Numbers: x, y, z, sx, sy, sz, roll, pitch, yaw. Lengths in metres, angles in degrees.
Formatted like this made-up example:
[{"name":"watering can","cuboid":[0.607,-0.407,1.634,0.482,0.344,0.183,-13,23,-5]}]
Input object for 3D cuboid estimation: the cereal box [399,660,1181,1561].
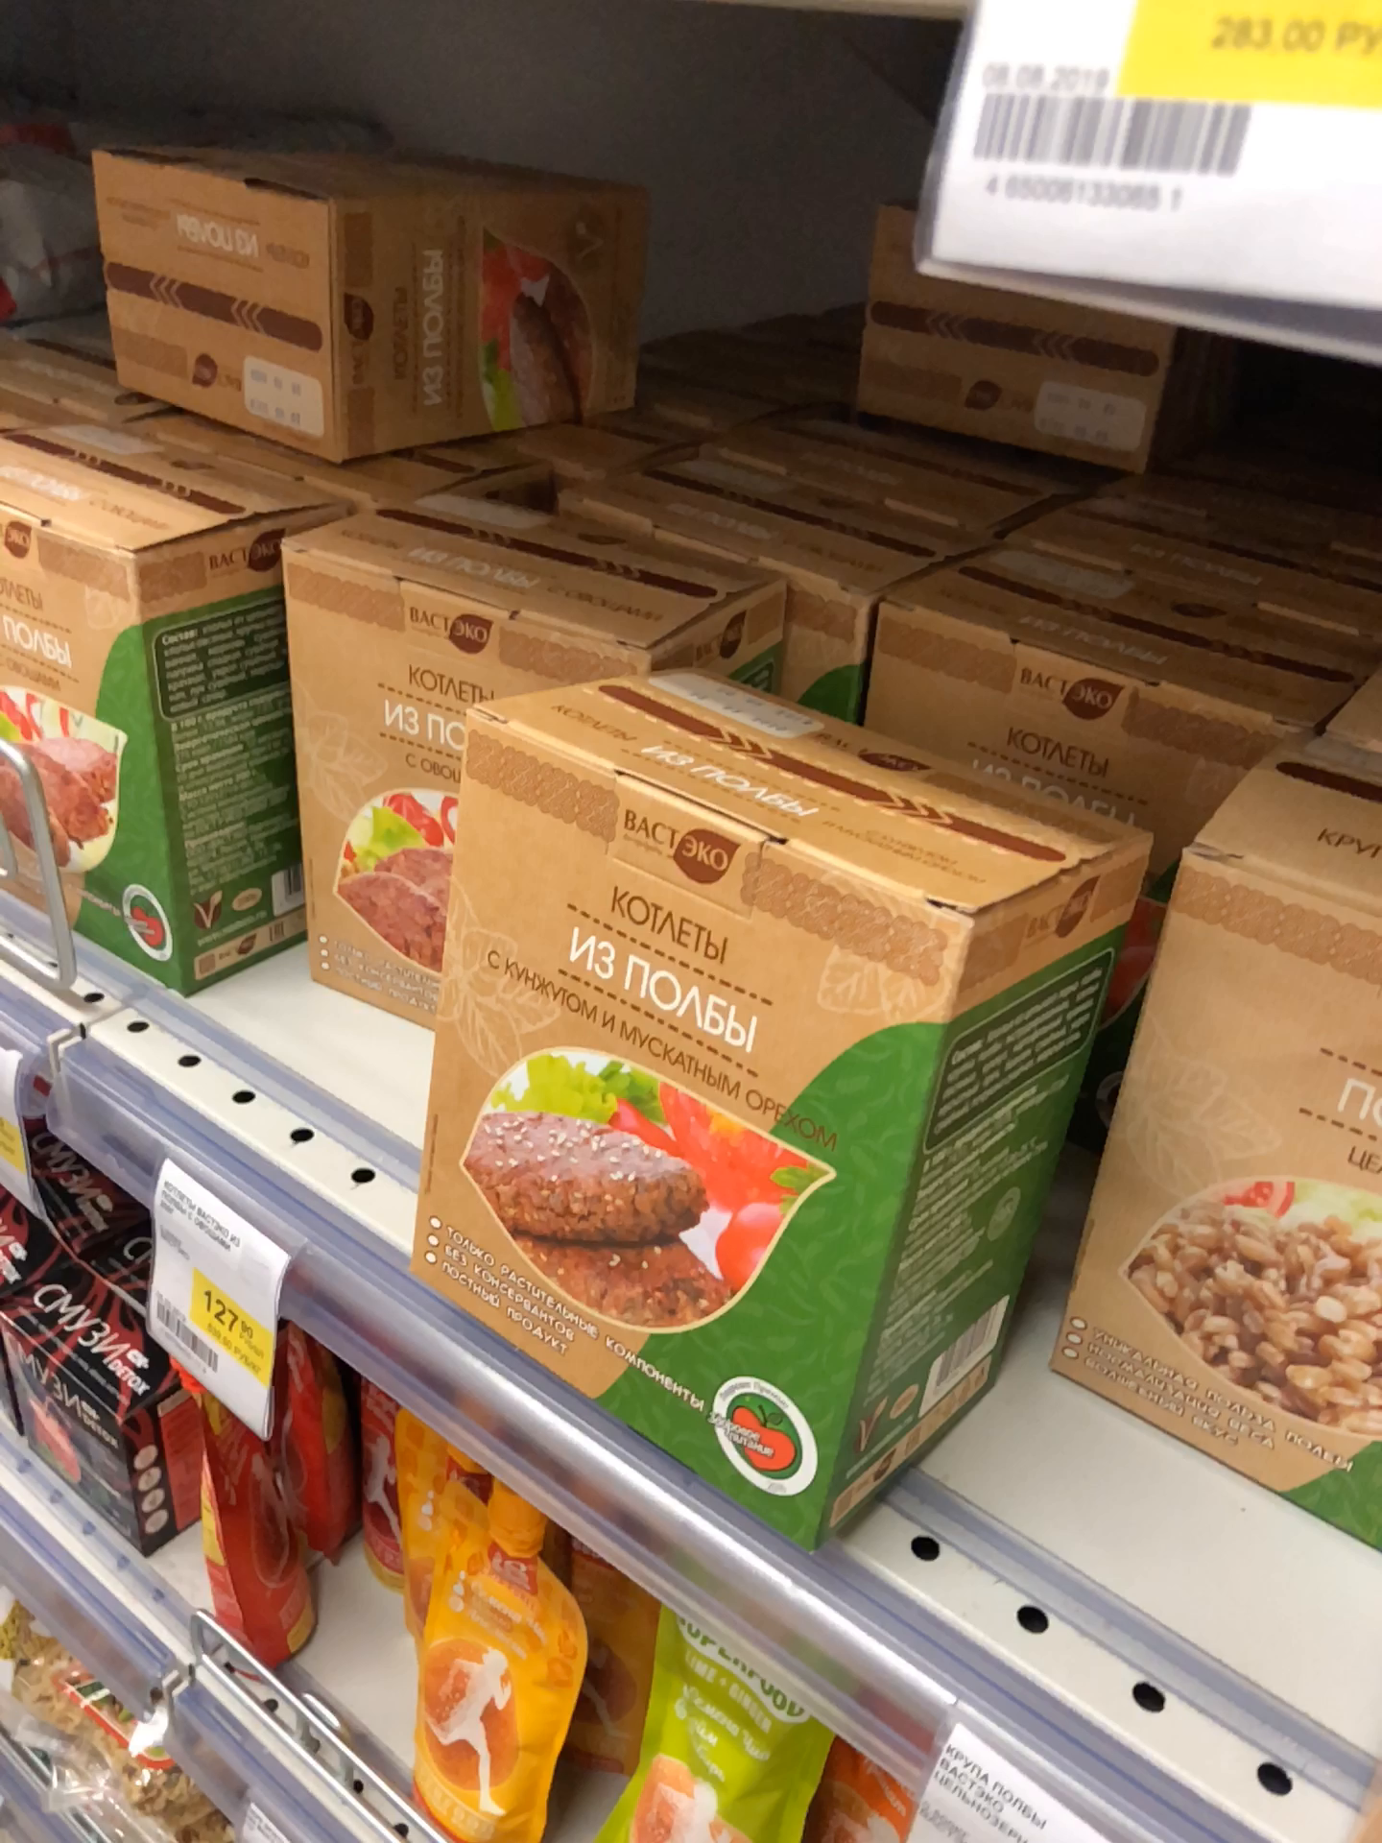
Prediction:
[{"name":"cereal box","cuboid":[0.016,0.031,0.340,0.120,0.139,0.090,25,27,30]}]
